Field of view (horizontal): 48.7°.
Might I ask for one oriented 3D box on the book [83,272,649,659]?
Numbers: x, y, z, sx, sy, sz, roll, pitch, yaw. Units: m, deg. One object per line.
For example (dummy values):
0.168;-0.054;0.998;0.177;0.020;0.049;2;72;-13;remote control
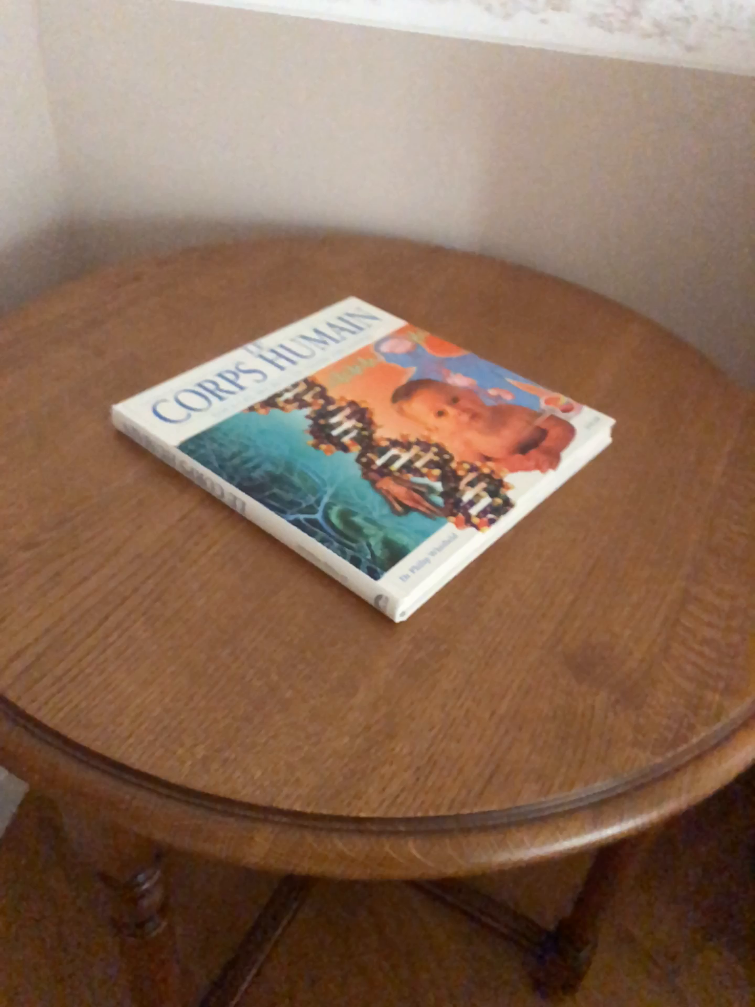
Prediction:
-0.003;-0.059;0.594;0.290;0.040;0.272;30;46;27;book
